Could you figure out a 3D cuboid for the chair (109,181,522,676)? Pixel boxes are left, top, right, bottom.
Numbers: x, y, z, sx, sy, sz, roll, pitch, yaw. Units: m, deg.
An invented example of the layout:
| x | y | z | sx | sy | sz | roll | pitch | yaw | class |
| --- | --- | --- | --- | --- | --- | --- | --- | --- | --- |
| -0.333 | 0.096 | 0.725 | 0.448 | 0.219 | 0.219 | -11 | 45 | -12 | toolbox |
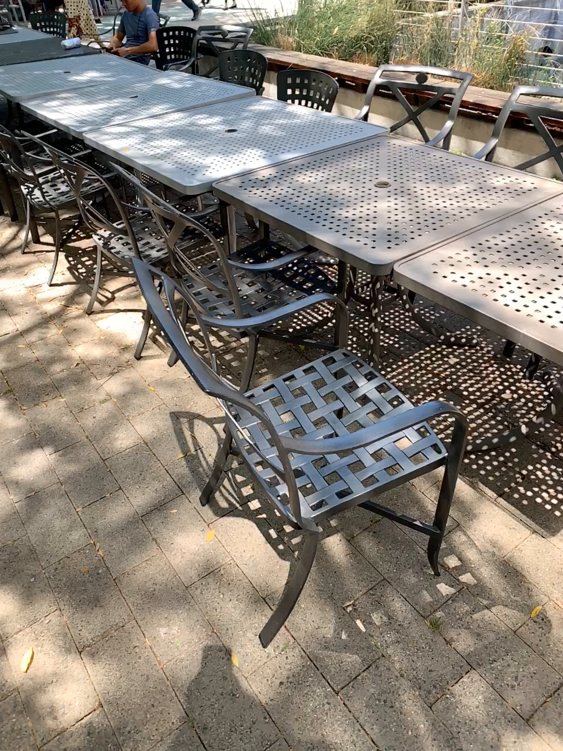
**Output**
| x | y | z | sx | sy | sz | roll | pitch | yaw | class |
| --- | --- | --- | --- | --- | --- | --- | --- | --- | --- |
| 0.038 | 0.112 | 1.429 | 0.610 | 0.885 | 0.634 | -17 | 40 | -17 | chair |
